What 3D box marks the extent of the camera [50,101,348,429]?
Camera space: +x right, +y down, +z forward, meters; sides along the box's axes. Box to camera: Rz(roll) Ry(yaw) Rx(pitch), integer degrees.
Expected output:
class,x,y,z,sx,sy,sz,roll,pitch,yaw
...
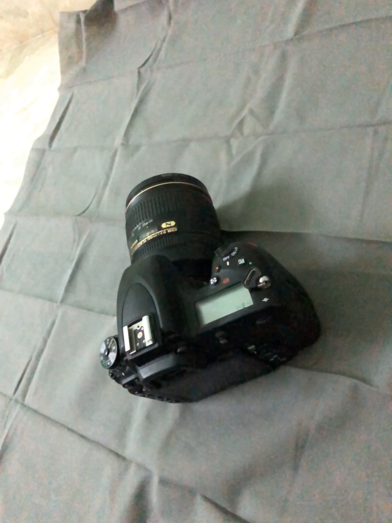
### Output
class,x,y,z,sx,sy,sz,roll,pitch,yaw
camera,-0.005,0.015,0.328,0.146,0.134,0.164,-29,54,22
